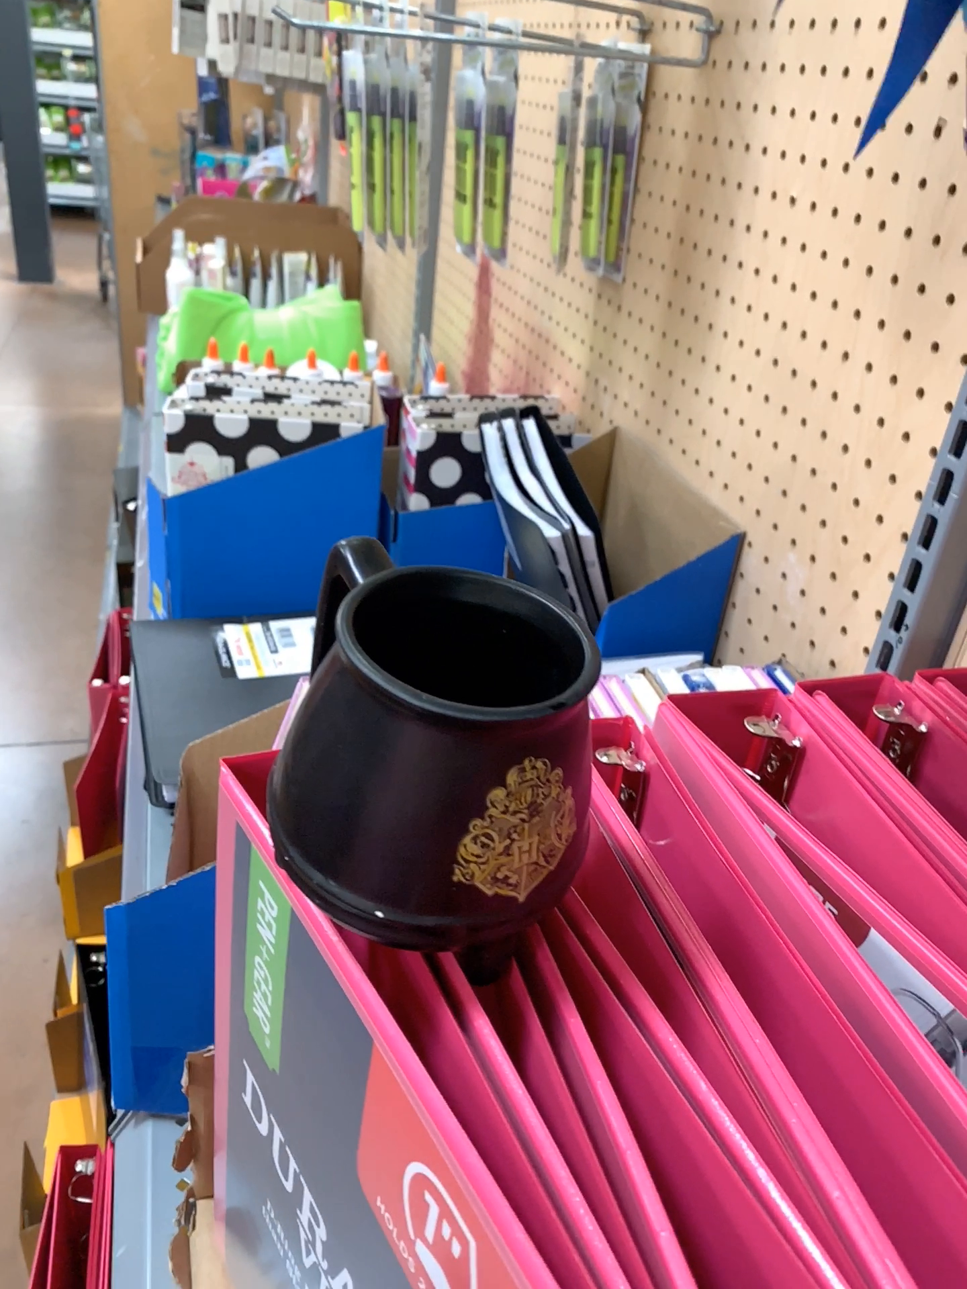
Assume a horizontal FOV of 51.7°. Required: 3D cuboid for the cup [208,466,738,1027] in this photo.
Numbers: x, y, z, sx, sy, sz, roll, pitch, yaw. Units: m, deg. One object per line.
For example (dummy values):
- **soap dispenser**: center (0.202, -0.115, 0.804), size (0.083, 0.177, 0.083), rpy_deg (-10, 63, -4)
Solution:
- **cup**: center (-0.013, 0.018, 0.297), size (0.097, 0.093, 0.122), rpy_deg (-13, 37, -30)
